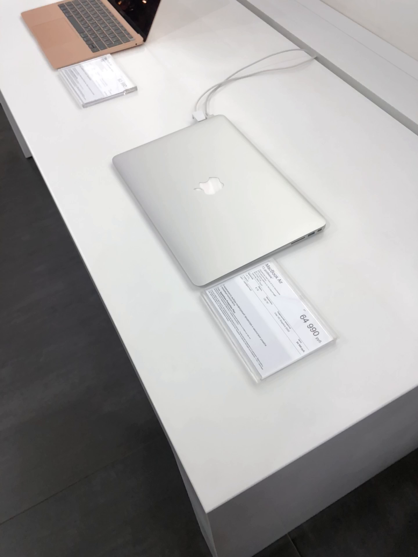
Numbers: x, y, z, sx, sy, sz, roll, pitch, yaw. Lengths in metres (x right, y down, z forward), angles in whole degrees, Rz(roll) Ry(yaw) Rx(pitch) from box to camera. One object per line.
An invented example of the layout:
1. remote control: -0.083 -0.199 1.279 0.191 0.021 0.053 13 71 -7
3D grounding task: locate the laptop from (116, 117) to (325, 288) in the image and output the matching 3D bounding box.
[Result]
1. laptop: 0.005 -0.141 0.732 0.209 0.008 0.308 -25 56 -13
